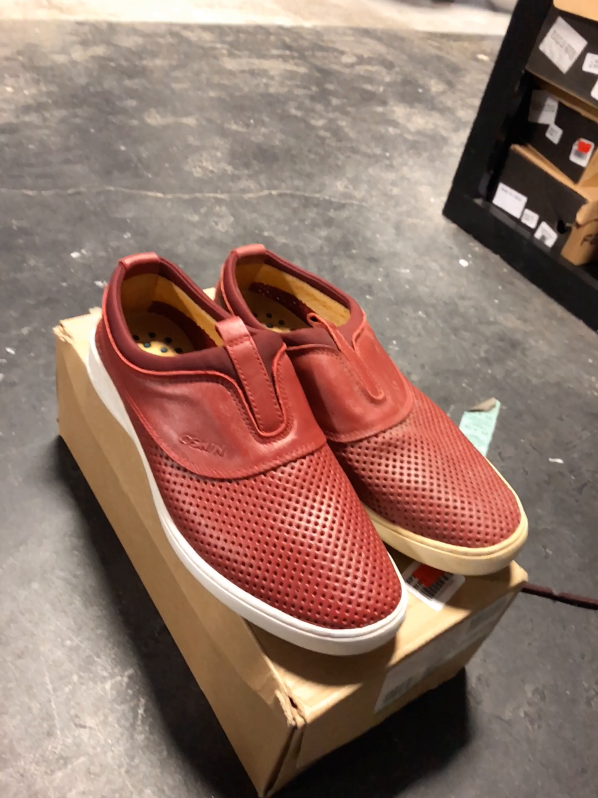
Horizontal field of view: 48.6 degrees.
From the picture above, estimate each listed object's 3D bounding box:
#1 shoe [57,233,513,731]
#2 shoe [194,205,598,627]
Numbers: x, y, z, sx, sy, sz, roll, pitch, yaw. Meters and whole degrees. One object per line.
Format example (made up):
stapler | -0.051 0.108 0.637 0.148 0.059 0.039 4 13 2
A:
shoe | -0.027 0.025 0.352 0.100 0.109 0.231 -22 53 -35
shoe | 0.047 -0.006 0.401 0.100 0.109 0.231 -22 53 -35
